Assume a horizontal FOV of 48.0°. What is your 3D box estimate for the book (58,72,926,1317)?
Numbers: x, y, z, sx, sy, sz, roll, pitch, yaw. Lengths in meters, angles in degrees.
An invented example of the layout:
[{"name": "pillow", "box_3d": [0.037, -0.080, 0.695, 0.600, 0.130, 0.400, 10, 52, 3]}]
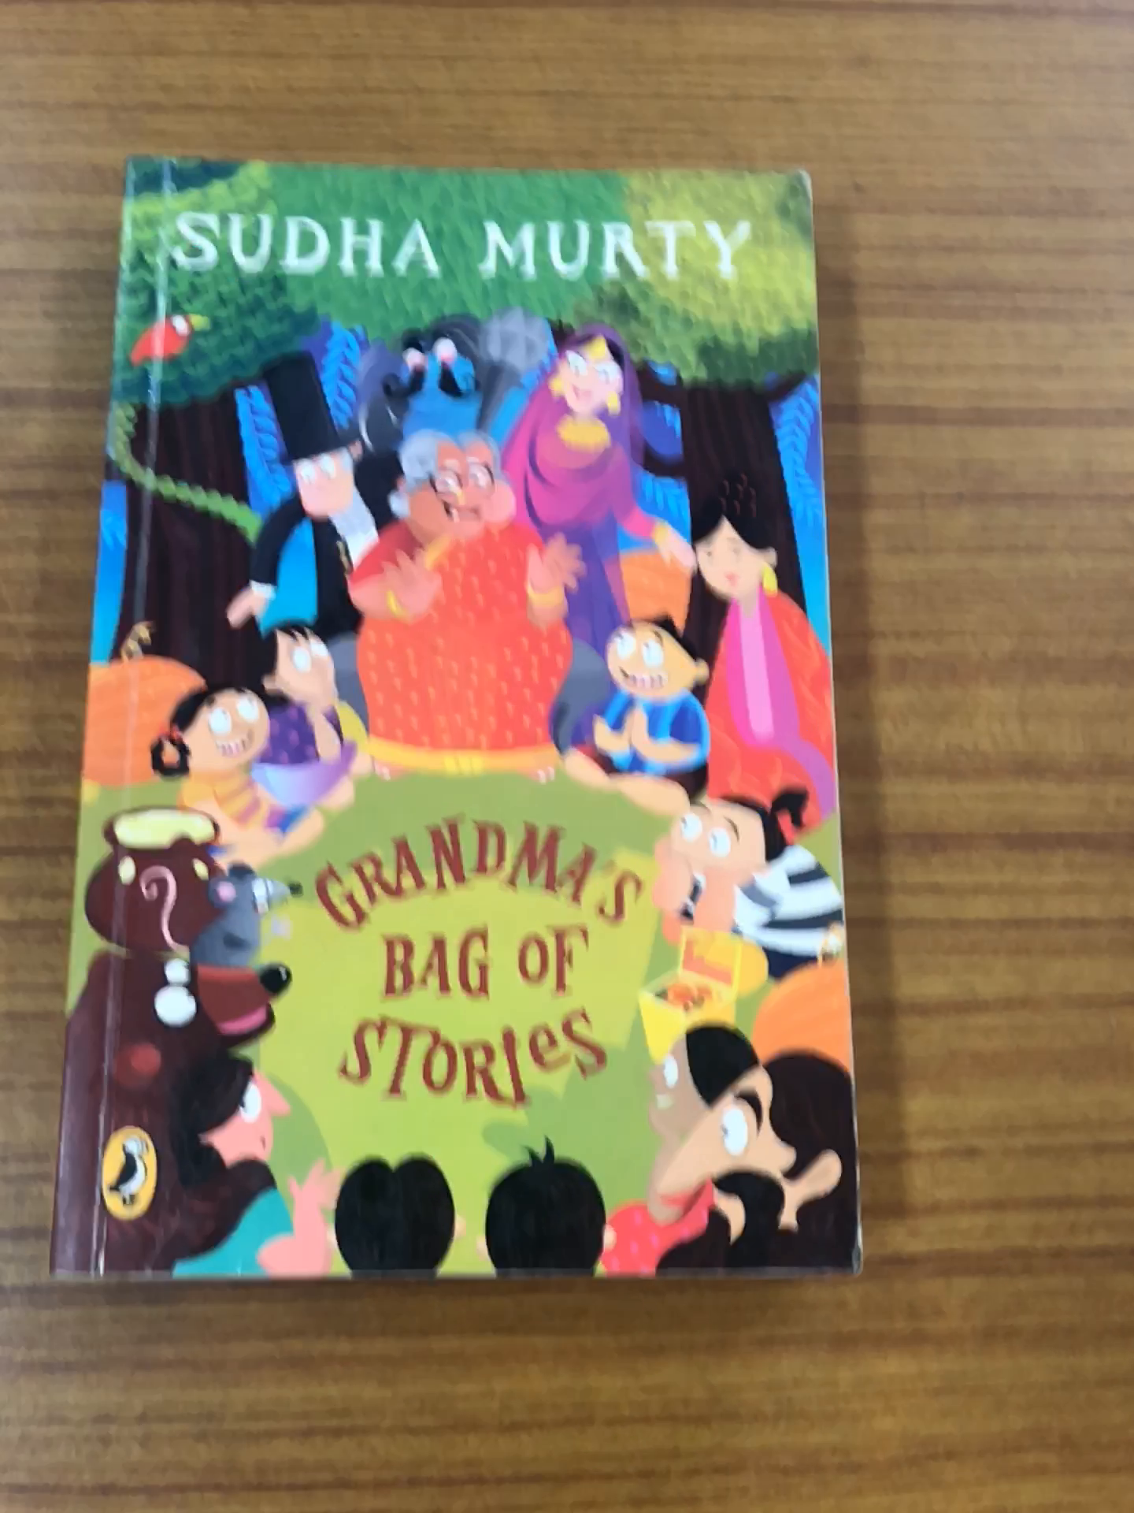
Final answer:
[{"name": "book", "box_3d": [-0.012, -0.017, 0.226, 0.130, 0.030, 0.210, 0, 79, -2]}]
